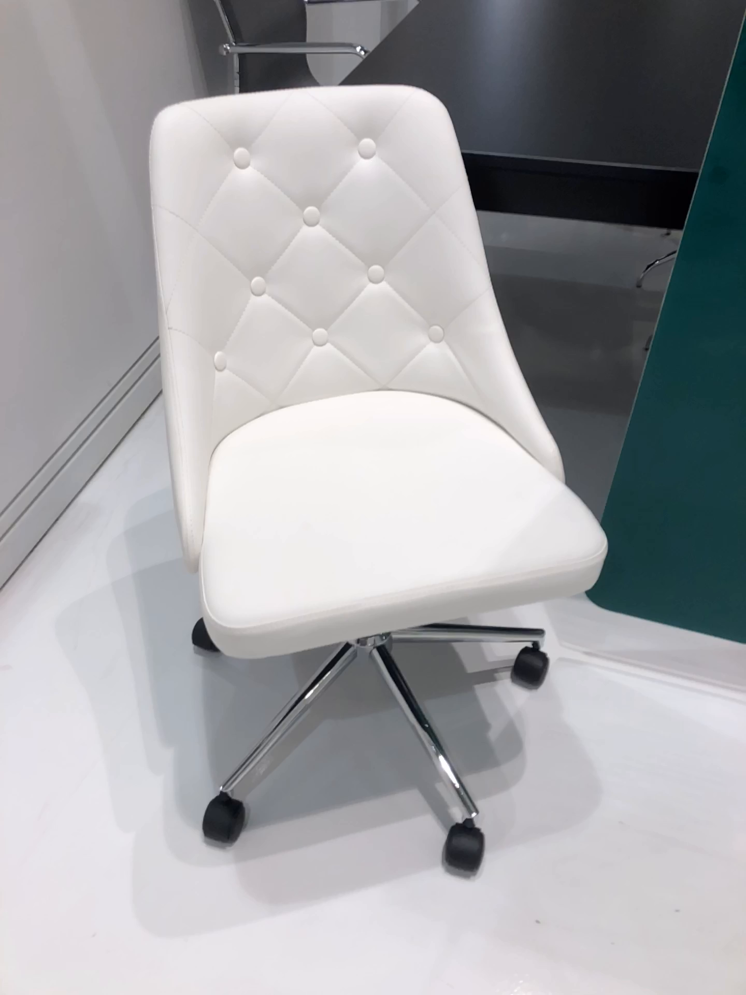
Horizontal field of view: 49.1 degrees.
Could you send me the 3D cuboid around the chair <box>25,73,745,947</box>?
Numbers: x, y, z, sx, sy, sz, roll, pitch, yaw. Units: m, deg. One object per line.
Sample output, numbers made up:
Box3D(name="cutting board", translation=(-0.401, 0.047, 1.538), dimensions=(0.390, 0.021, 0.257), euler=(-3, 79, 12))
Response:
Box3D(name="chair", translation=(-0.002, 0.006, 1.076), dimensions=(0.600, 0.854, 0.644), euler=(-9, 41, -11))
